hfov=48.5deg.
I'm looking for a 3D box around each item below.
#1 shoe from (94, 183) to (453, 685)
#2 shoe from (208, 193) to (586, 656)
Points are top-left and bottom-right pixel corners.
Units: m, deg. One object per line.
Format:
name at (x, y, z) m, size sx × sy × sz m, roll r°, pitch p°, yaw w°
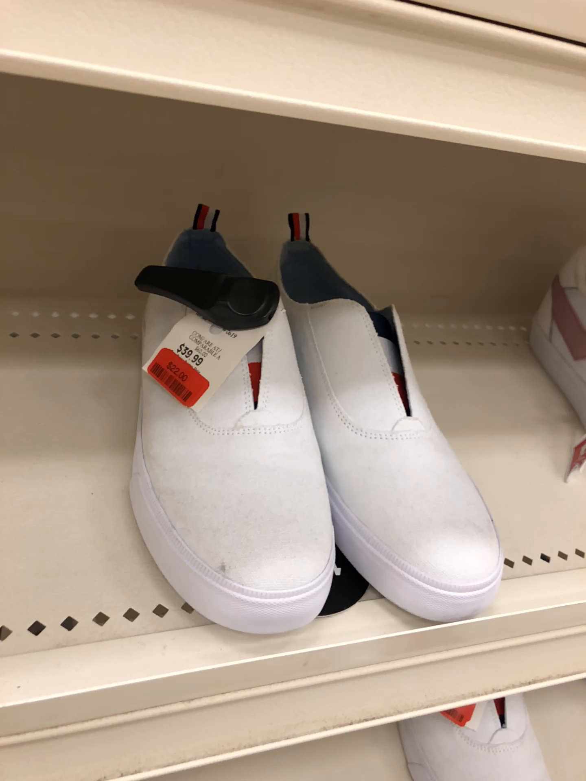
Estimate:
shoe at (-0.043, -0.013, 0.344) m, size 0.100 × 0.089 × 0.292 m, roll 0°, pitch 35°, yaw -21°
shoe at (0.033, -0.011, 0.400) m, size 0.100 × 0.109 × 0.302 m, roll 0°, pitch 35°, yaw -21°
